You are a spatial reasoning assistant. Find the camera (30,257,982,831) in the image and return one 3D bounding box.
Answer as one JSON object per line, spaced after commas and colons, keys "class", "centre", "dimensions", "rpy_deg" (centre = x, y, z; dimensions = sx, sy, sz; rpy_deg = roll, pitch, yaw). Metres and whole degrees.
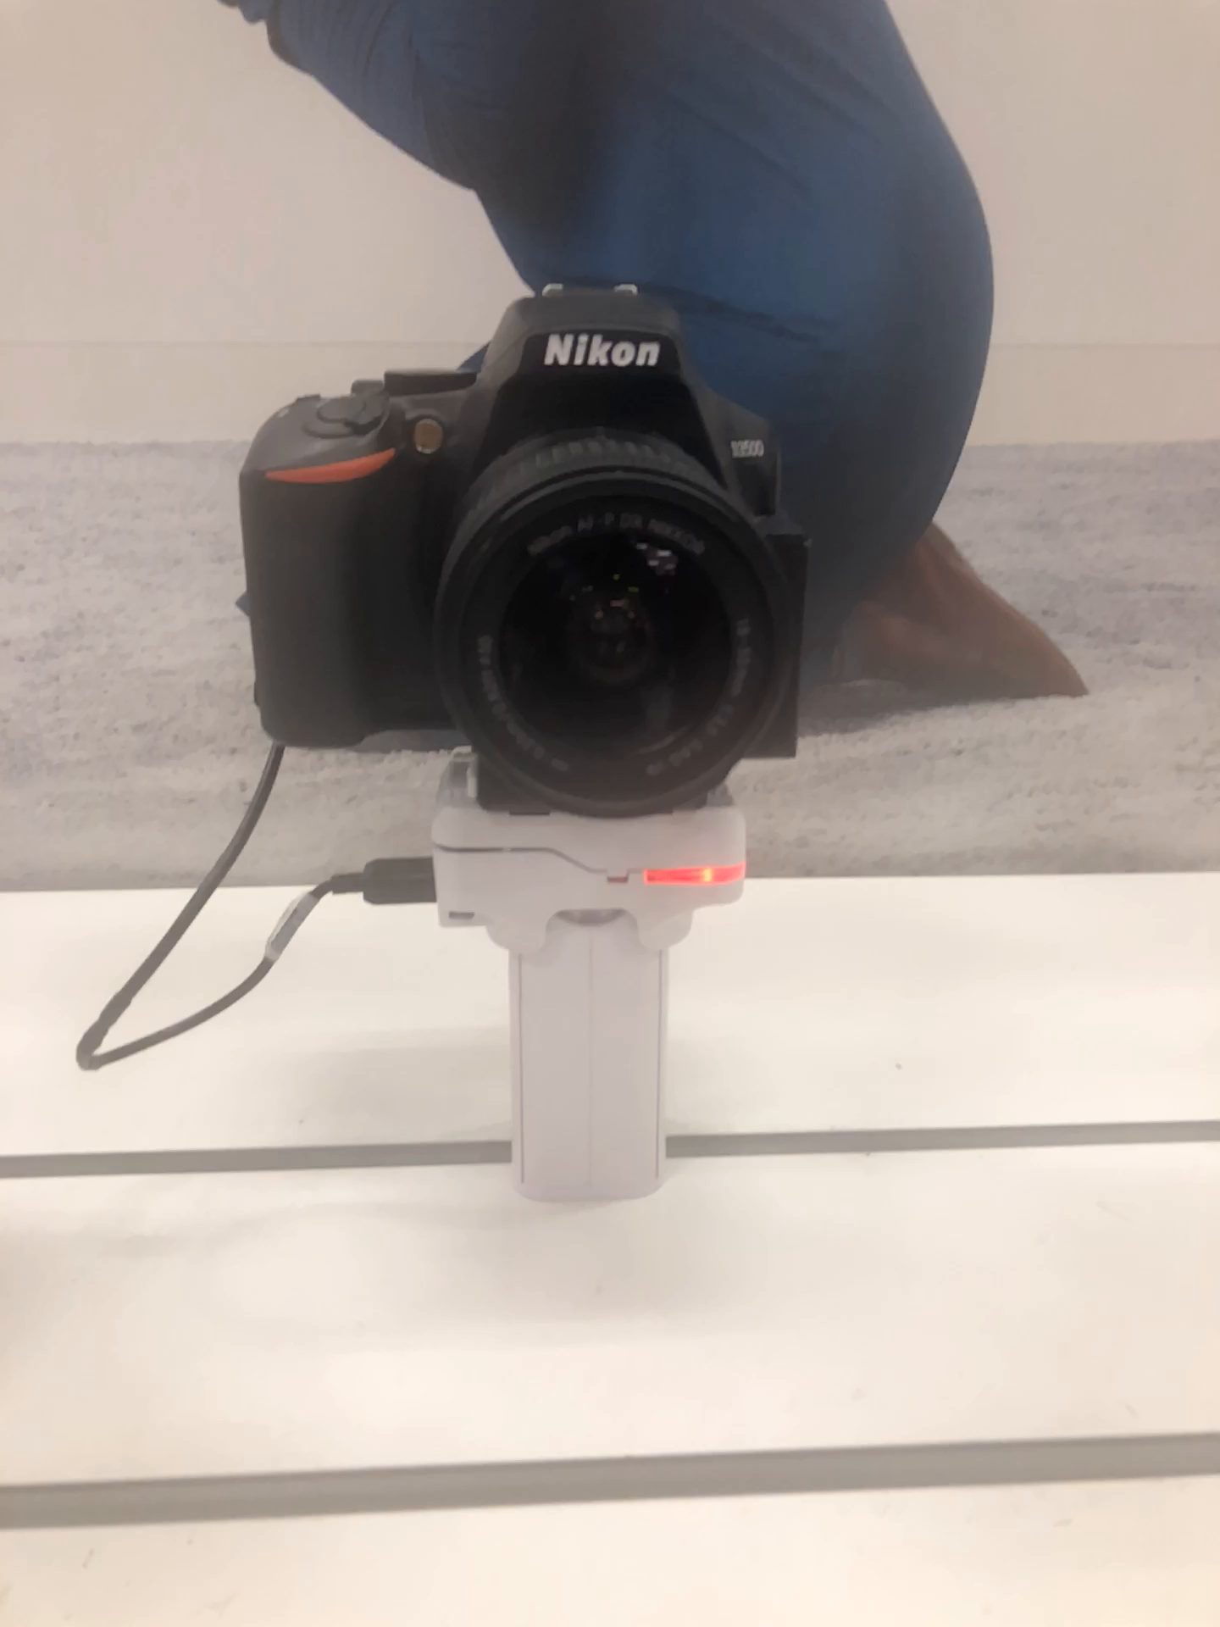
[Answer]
{"class": "camera", "centre": [-0.016, -0.062, 0.275], "dimensions": [0.140, 0.090, 0.131], "rpy_deg": [0, 20, -1]}
